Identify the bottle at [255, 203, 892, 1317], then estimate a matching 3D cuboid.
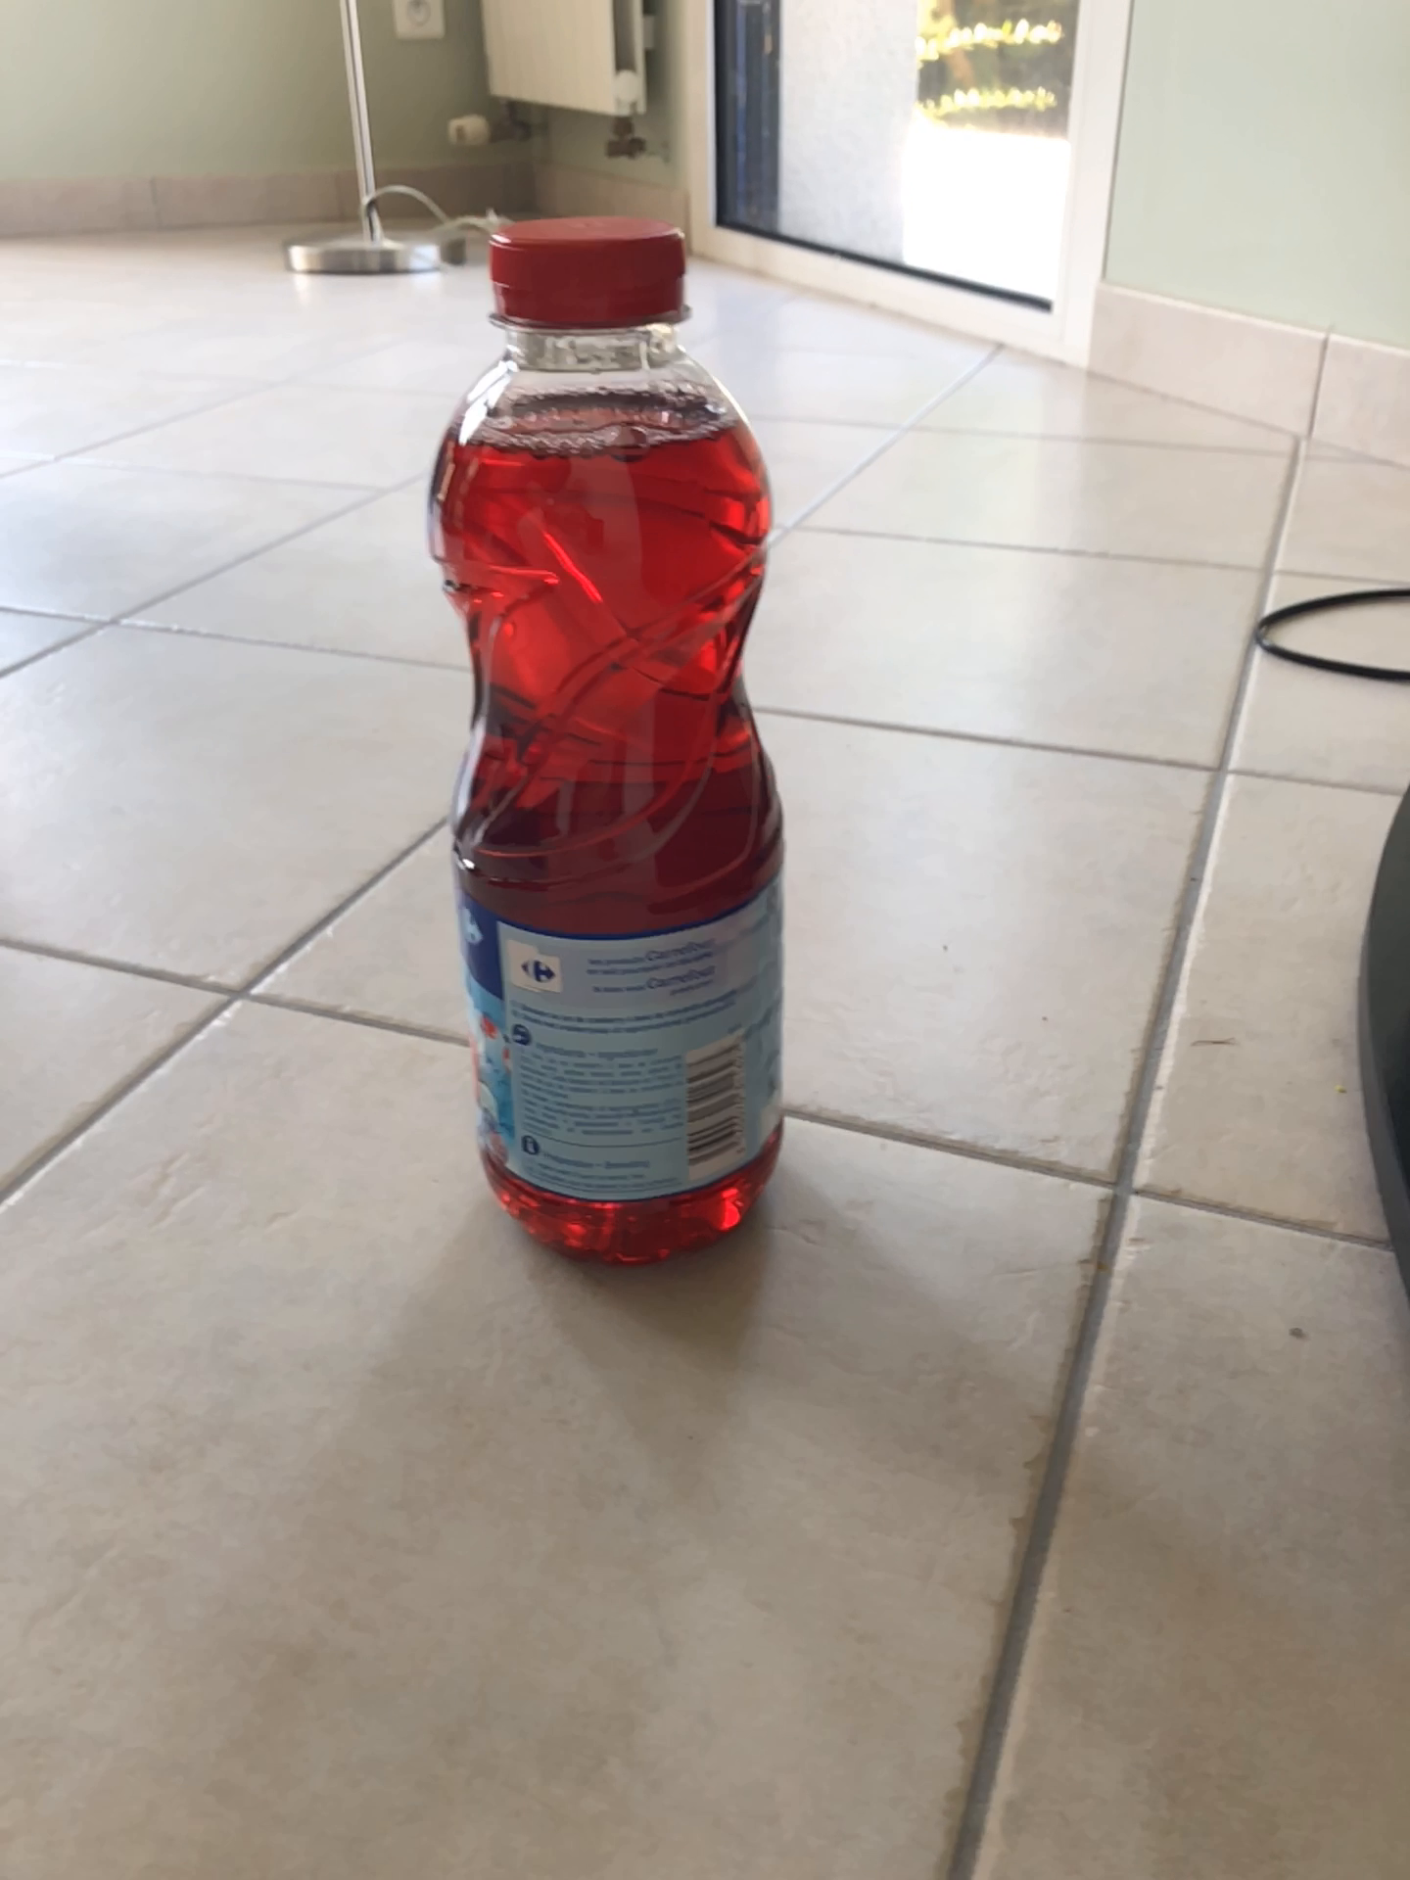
[{"bbox_3d":[-0.021,-0.041,0.375,0.100,0.239,0.091,10,32,19],"label":"bottle"}]
